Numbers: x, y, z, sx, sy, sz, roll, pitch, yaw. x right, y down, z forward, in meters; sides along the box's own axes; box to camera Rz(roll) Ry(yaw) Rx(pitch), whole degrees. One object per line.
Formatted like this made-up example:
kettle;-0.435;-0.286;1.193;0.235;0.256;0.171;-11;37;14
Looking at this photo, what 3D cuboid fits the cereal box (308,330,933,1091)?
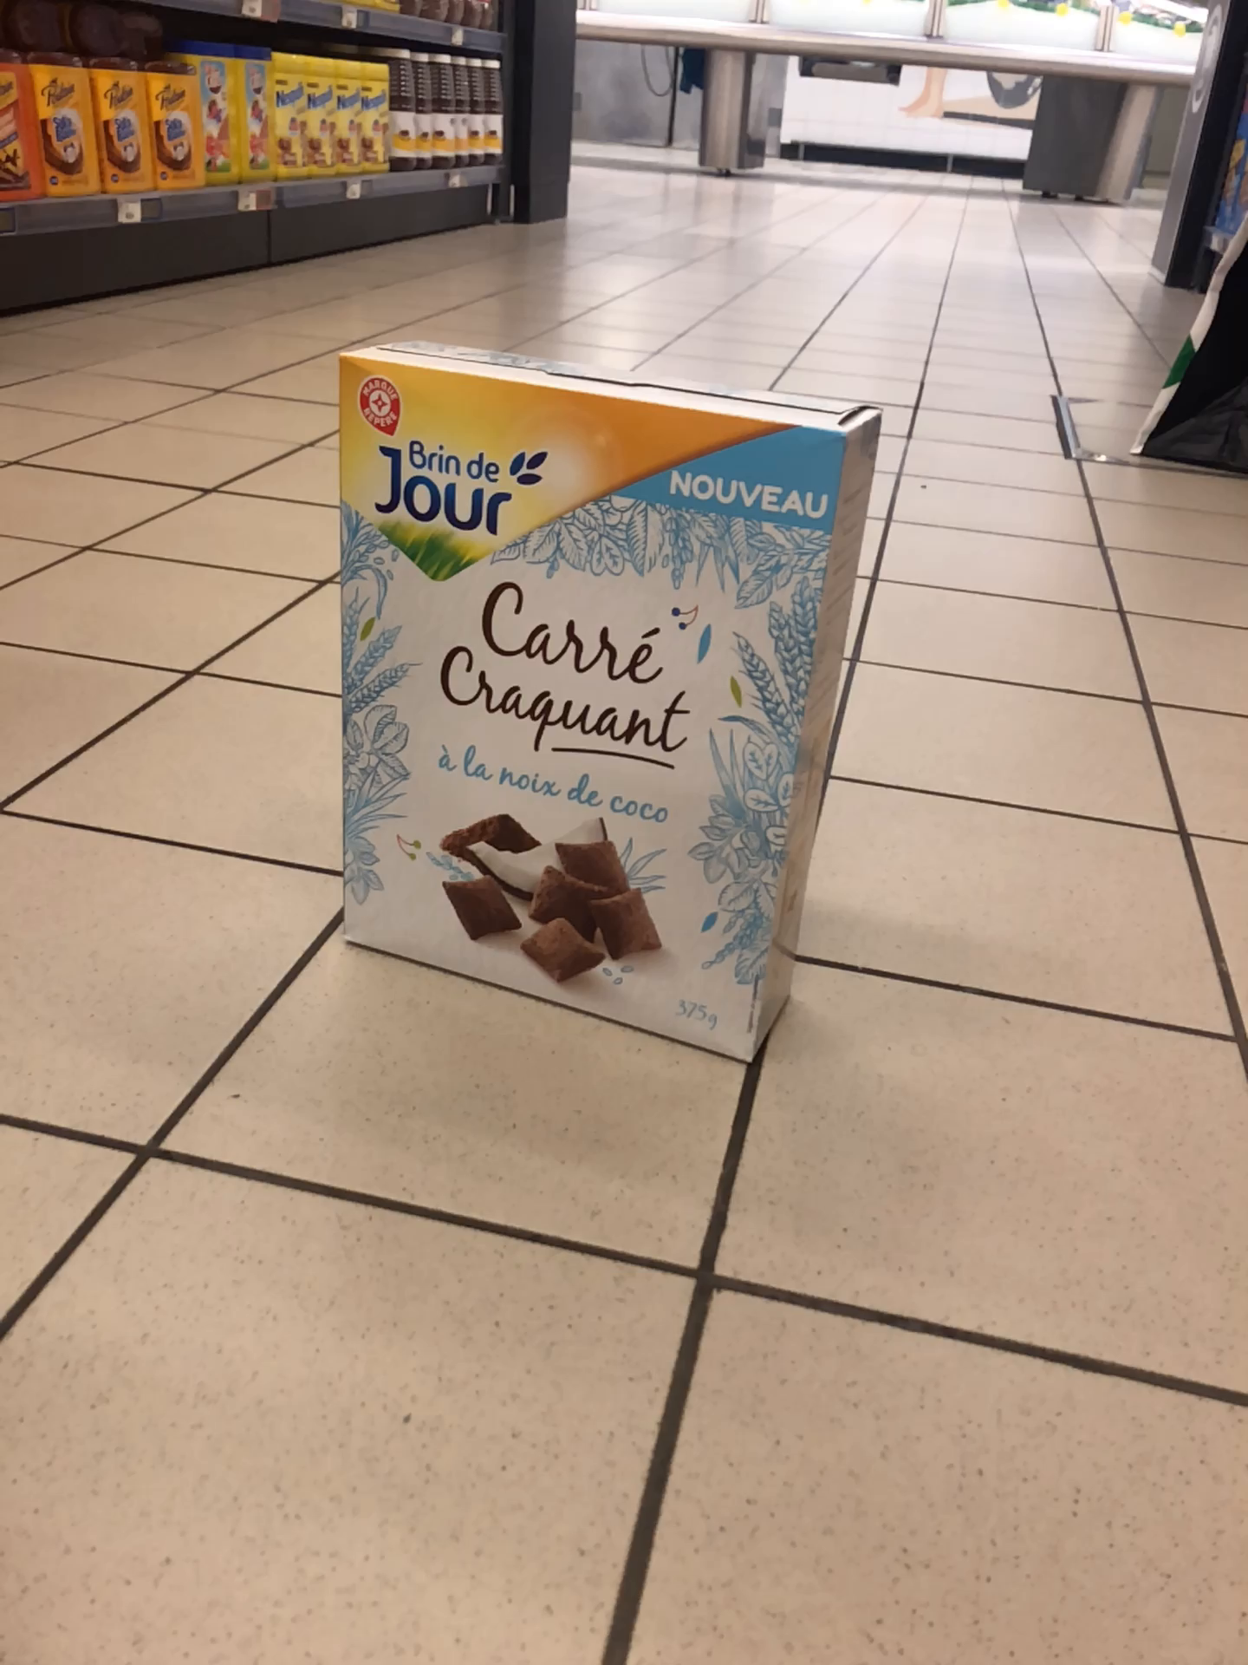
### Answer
cereal box;-0.009;-0.049;0.513;0.200;0.239;0.070;14;28;20
